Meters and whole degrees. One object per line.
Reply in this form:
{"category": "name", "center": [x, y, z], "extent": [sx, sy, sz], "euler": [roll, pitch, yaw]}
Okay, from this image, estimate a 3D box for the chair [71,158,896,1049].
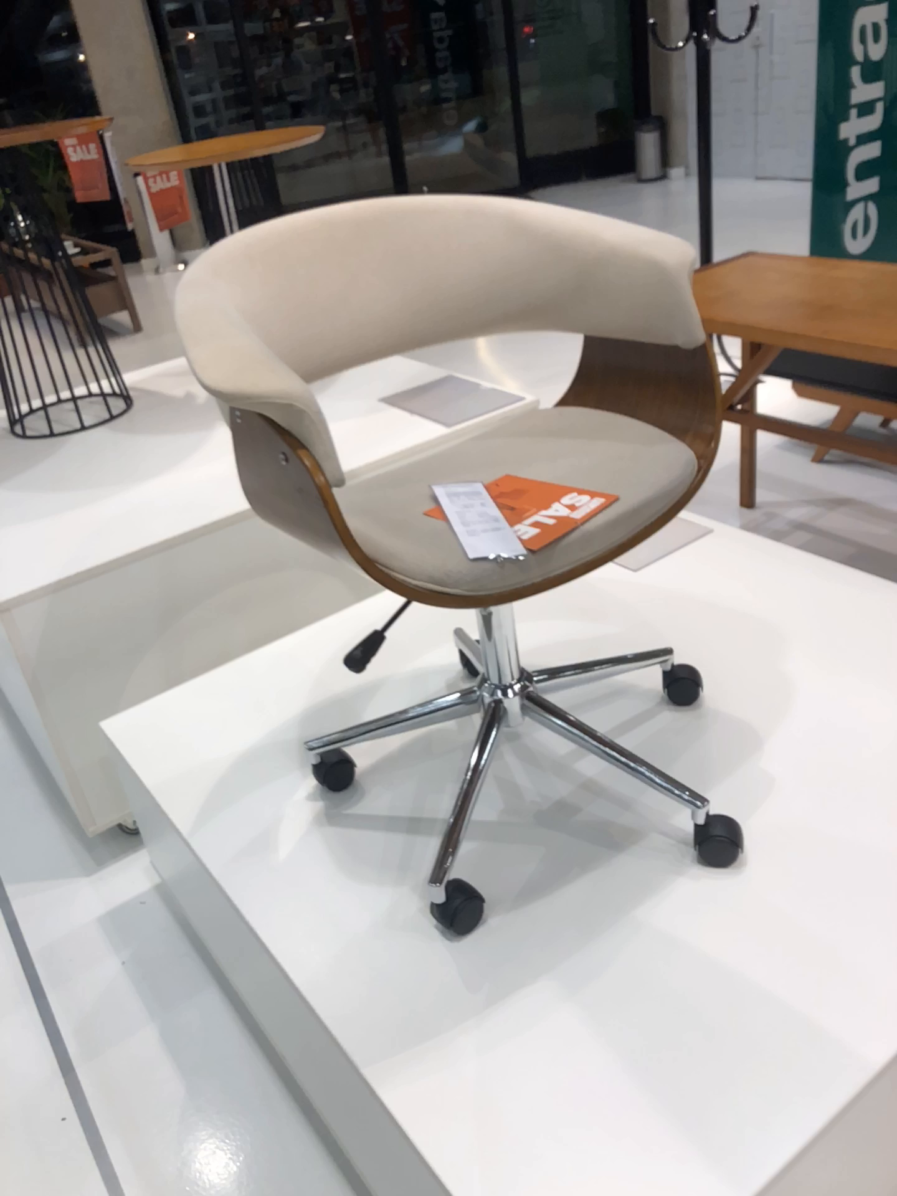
{"category": "chair", "center": [0.062, -0.092, 1.222], "extent": [0.632, 0.725, 0.673], "euler": [-26, 33, -28]}
